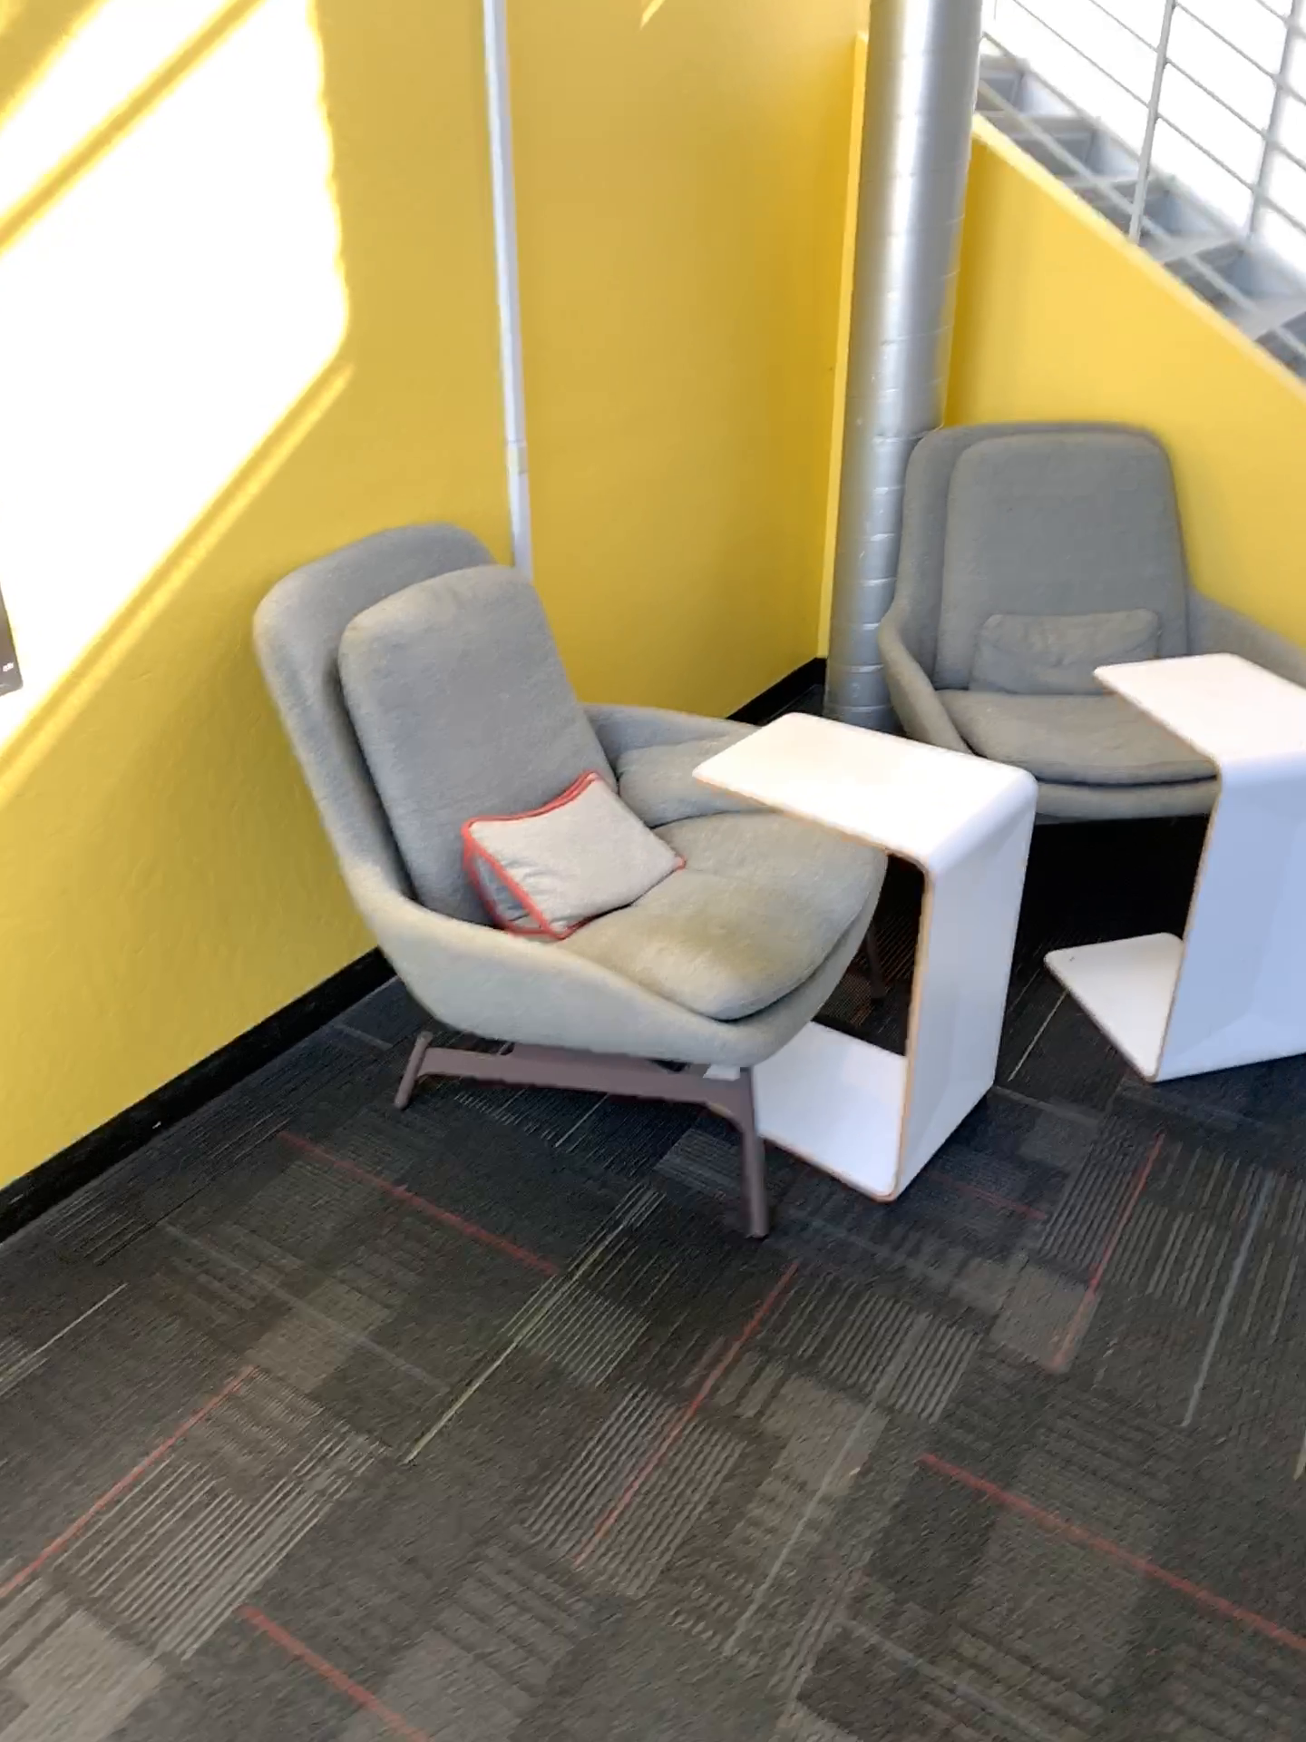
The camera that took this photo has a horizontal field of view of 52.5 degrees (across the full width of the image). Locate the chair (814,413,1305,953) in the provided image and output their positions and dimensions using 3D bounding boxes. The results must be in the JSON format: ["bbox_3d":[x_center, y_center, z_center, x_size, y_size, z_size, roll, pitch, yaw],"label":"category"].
[{"bbox_3d":[0.947,-0.495,3.187,0.890,1.014,0.845,-5,26,-7],"label":"chair"}]

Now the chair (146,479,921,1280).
[{"bbox_3d":[-0.115,-0.070,2.179,0.871,0.925,0.804,10,30,23],"label":"chair"}]
